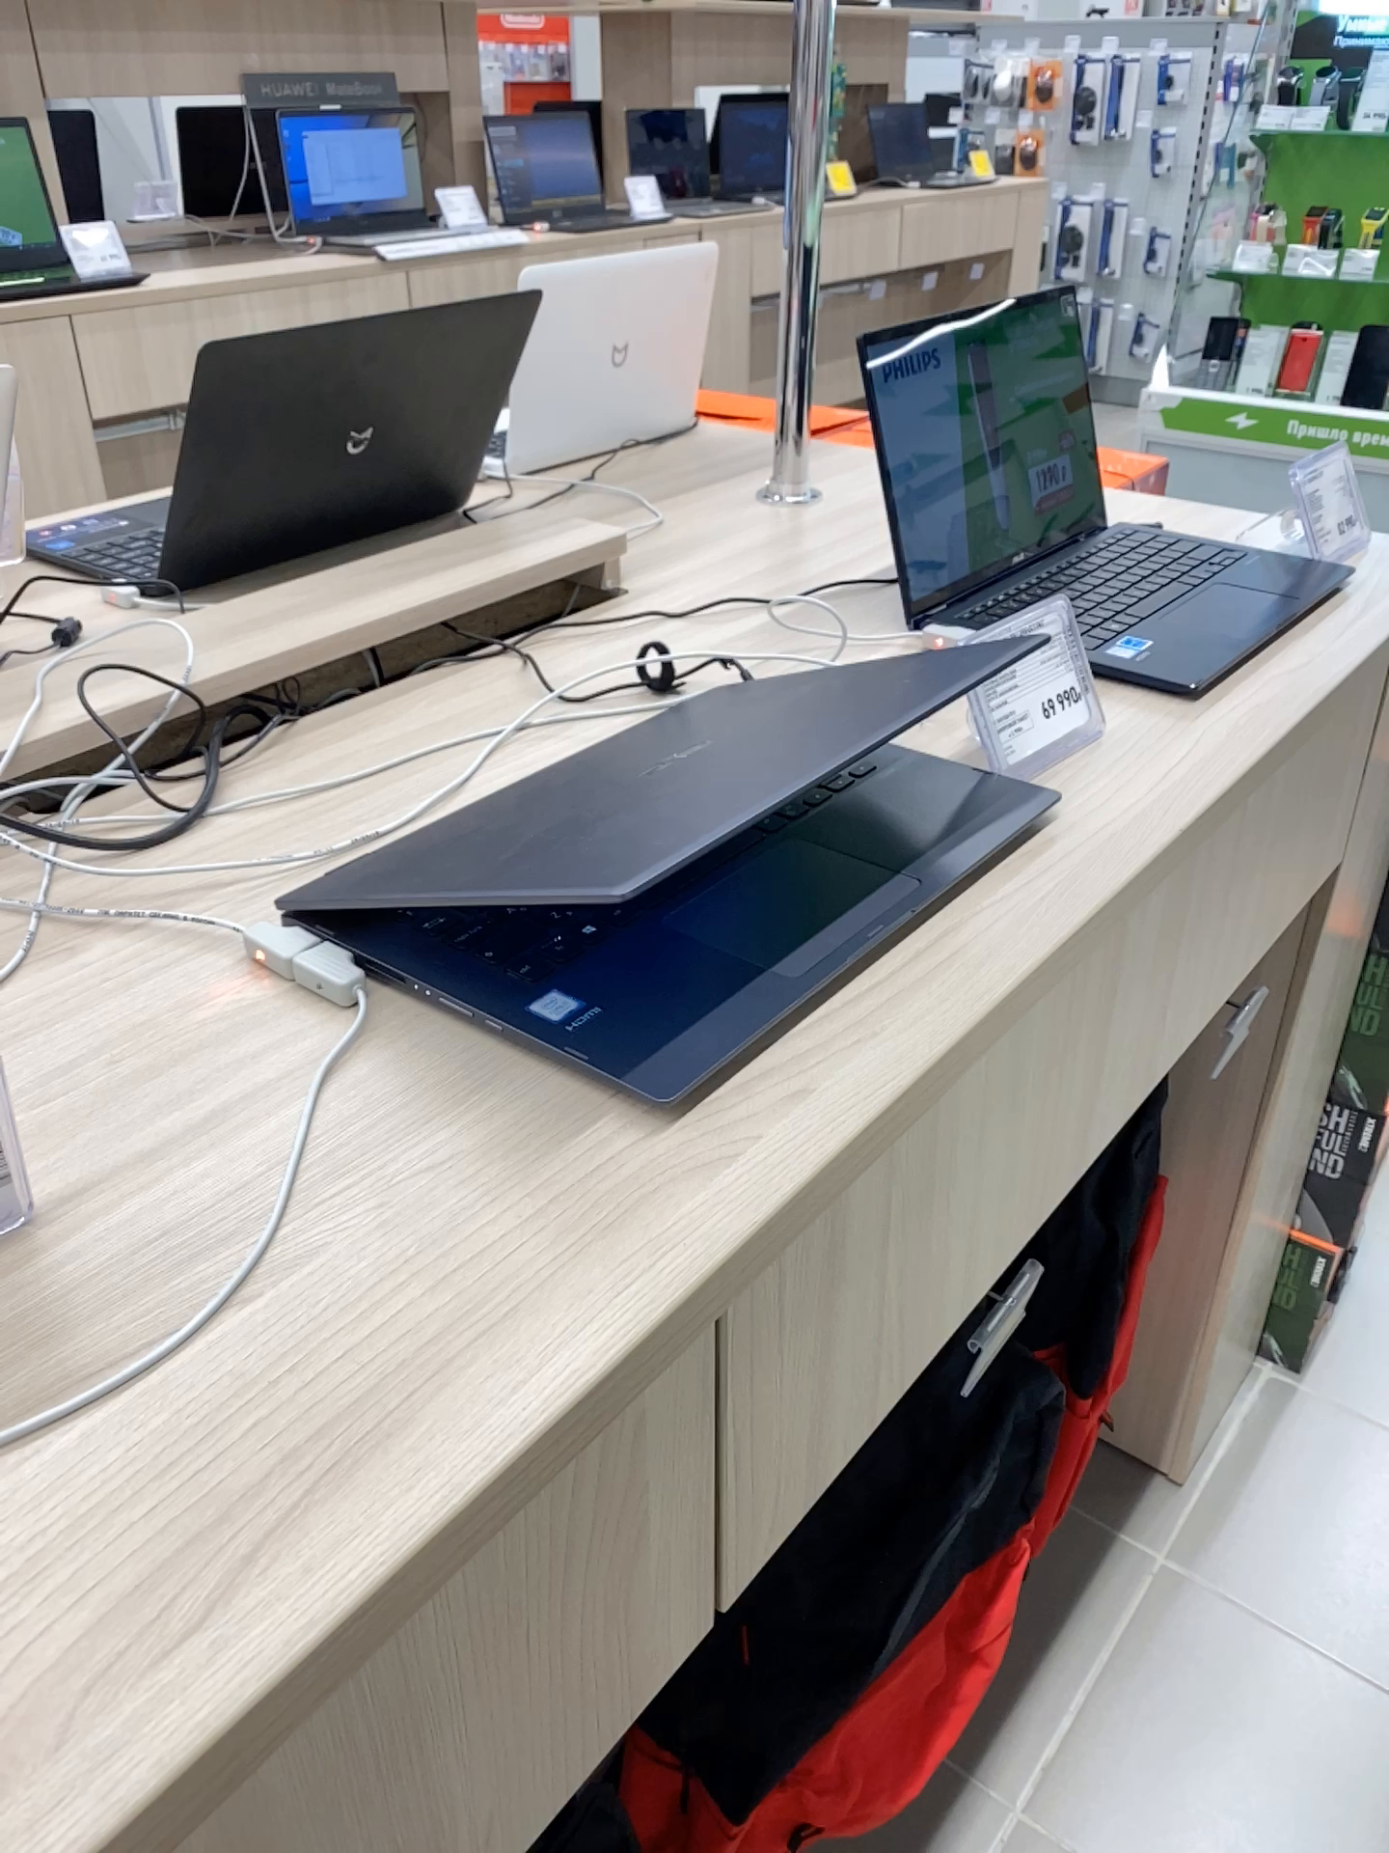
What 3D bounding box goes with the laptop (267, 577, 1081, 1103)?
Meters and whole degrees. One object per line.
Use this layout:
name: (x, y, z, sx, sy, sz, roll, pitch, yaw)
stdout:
laptop: (0.006, -0.070, 0.677, 0.226, 0.079, 0.331, 21, 36, 32)
